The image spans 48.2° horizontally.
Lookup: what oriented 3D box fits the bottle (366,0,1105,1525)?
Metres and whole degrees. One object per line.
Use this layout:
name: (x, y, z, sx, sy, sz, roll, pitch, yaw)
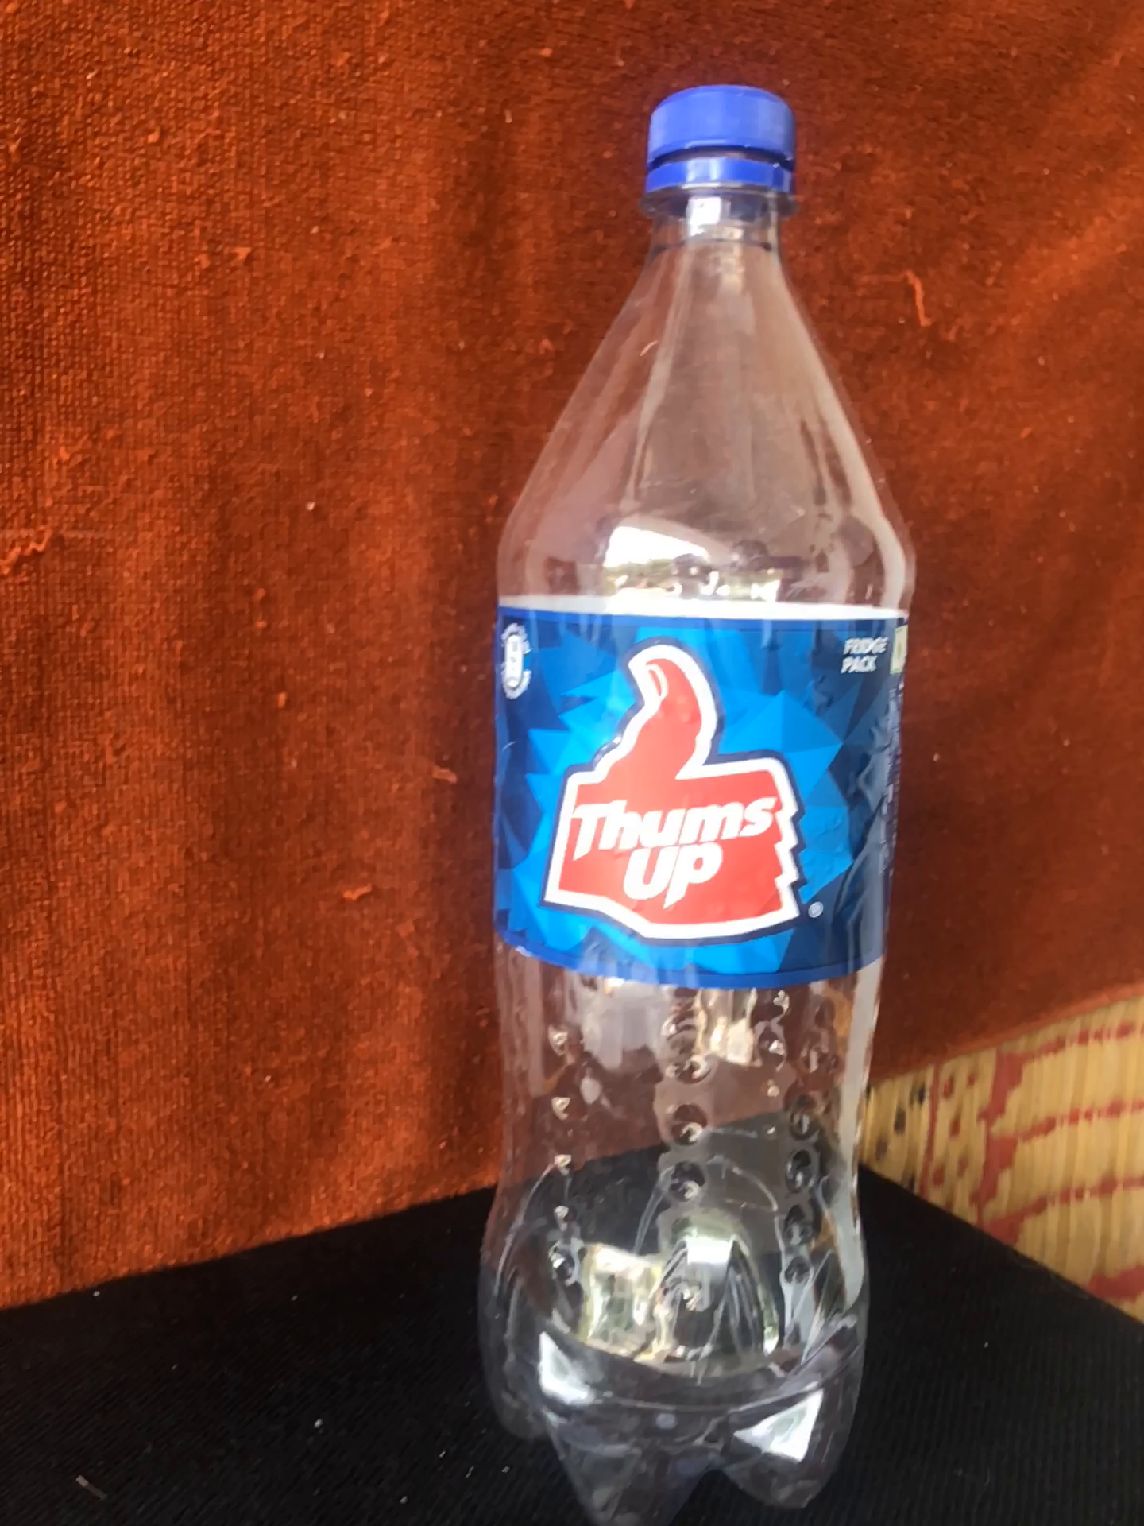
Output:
bottle: (0.027, 0.001, 0.264, 0.100, 0.289, 0.090, 6, 10, 10)
